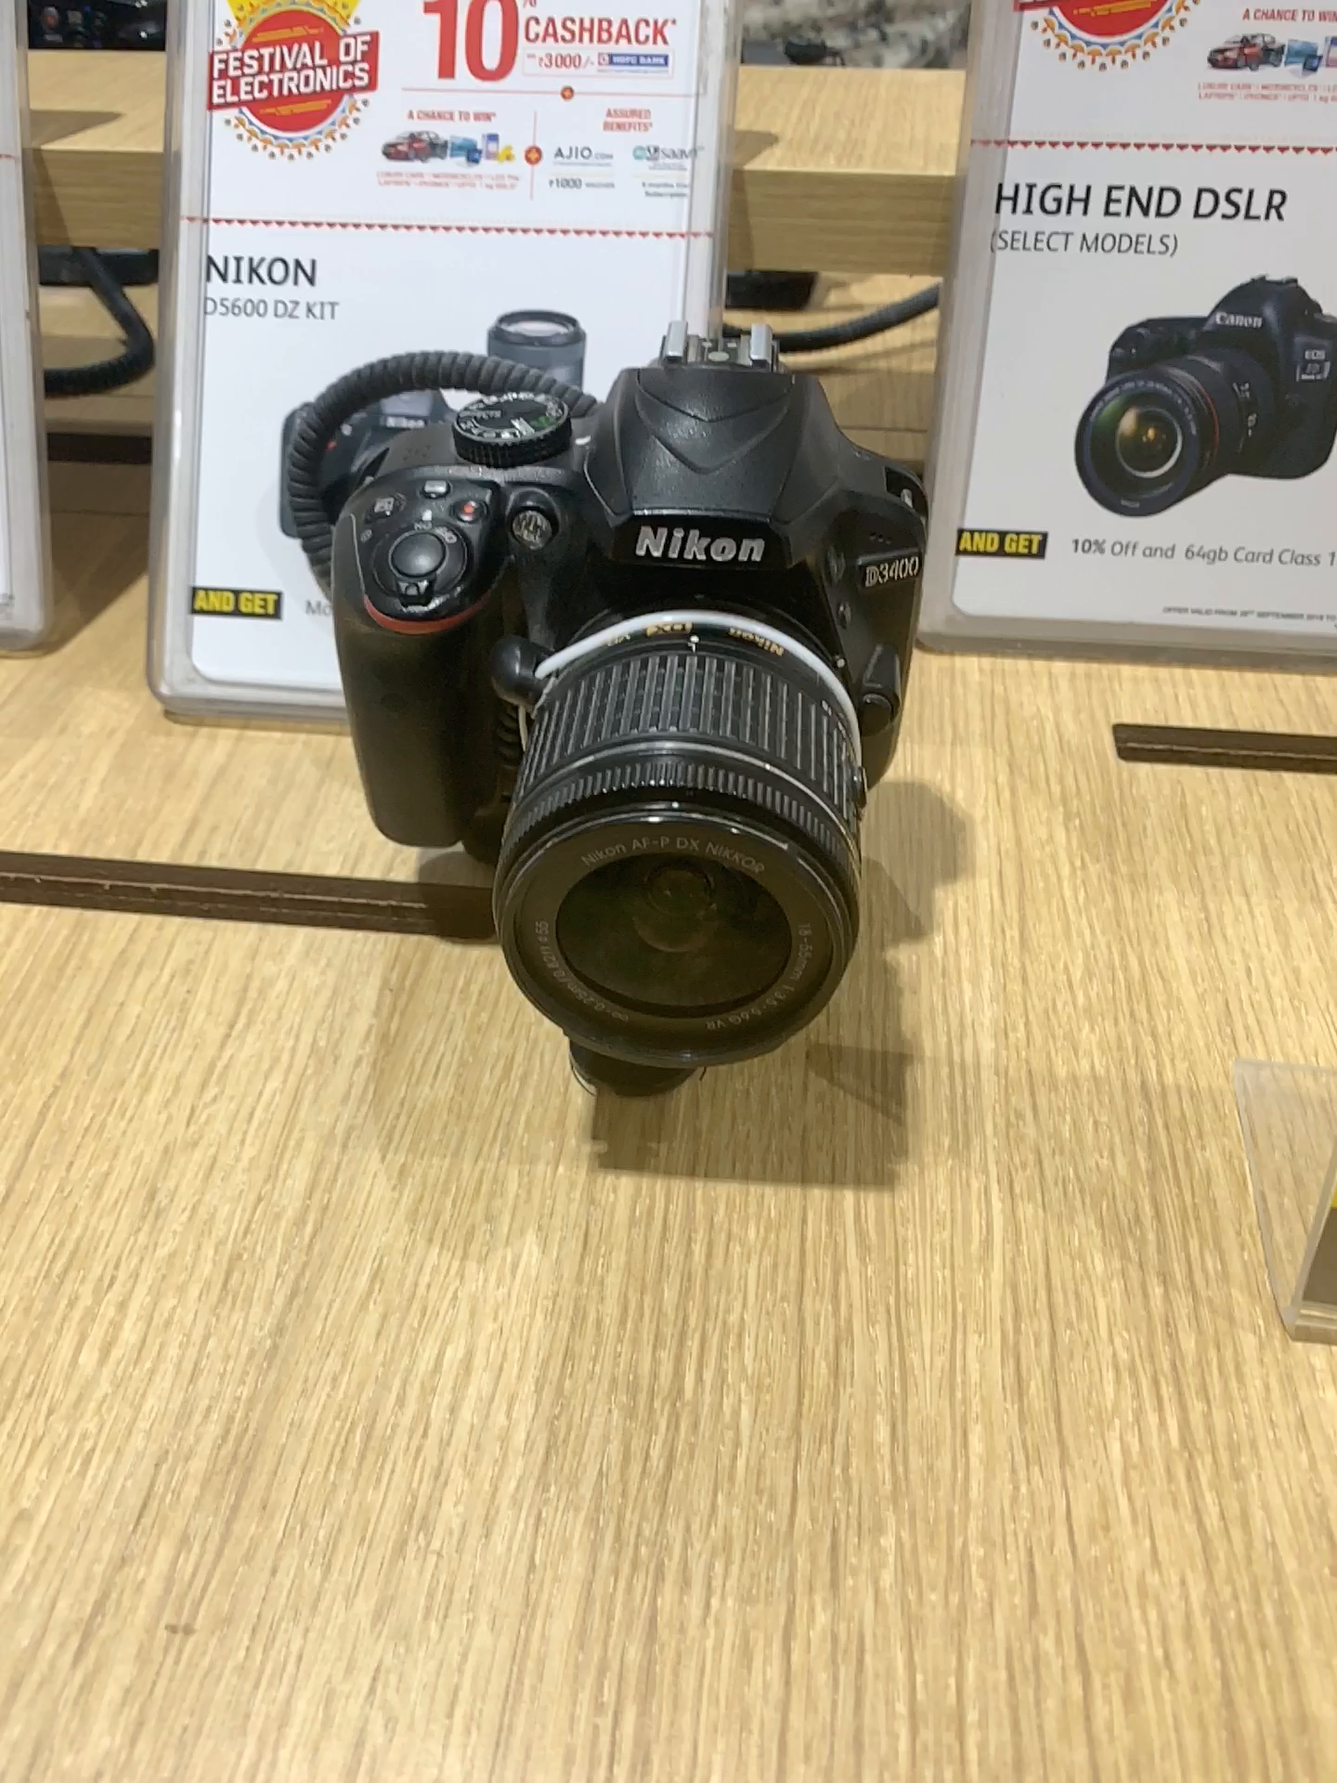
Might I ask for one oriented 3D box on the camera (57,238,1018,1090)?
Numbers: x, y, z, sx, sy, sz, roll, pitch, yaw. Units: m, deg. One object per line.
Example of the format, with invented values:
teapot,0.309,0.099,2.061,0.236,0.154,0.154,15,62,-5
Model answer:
camera,-0.013,-0.046,0.249,0.120,0.100,0.120,2,41,3
